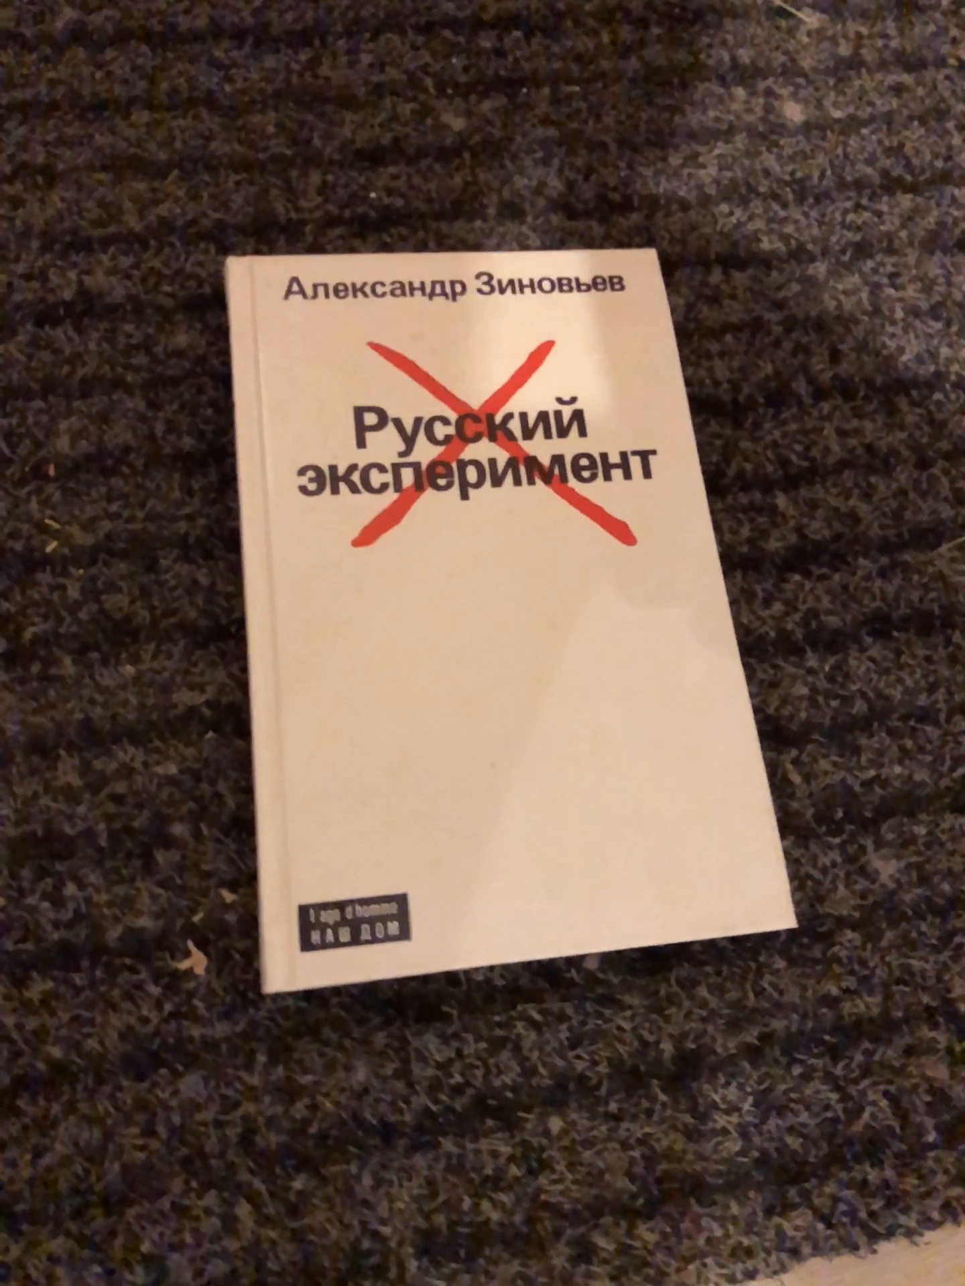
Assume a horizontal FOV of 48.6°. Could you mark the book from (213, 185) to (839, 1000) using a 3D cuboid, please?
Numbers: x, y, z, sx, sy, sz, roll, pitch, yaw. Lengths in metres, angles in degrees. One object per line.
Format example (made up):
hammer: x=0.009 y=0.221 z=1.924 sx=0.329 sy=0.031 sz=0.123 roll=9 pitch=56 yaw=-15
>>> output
book: x=0.001 y=-0.020 z=0.261 sx=0.120 sy=0.040 sz=0.190 roll=-4 pitch=71 yaw=-8
